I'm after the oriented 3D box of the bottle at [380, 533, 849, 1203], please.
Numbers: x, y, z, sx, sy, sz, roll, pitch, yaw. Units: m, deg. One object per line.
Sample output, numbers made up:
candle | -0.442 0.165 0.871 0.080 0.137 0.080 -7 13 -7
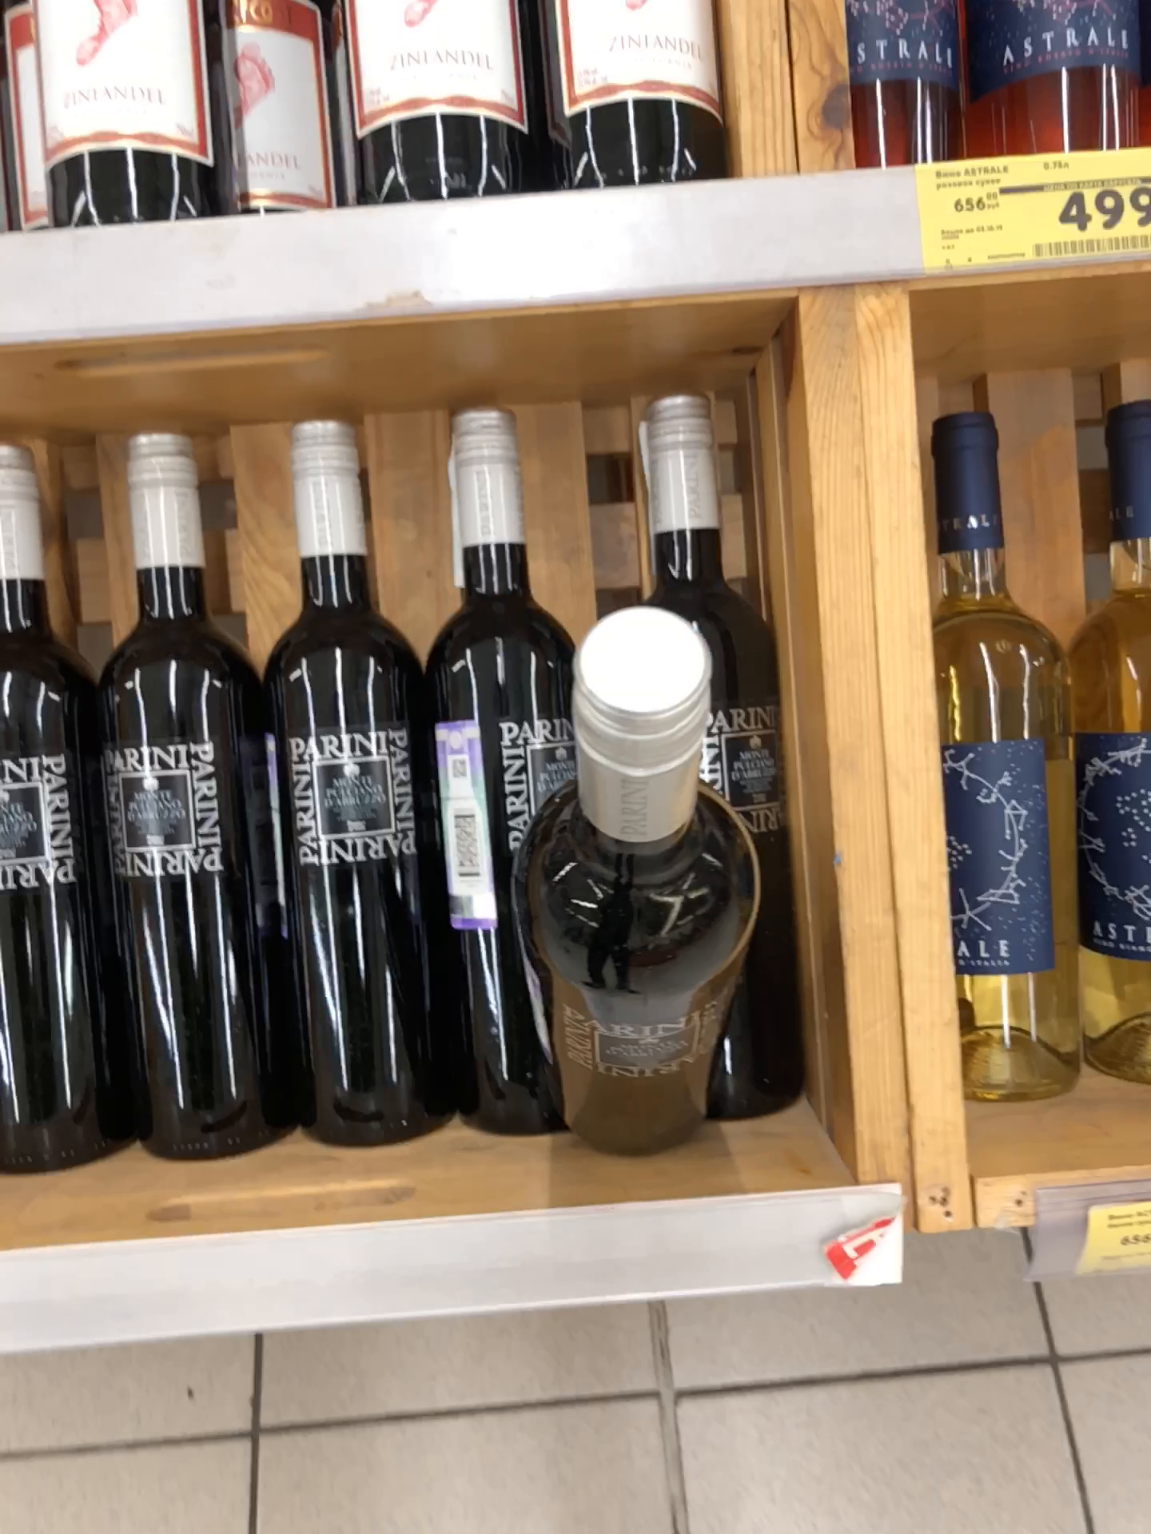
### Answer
bottle | 0.013 0.056 0.384 0.090 0.280 0.080 4 59 4
